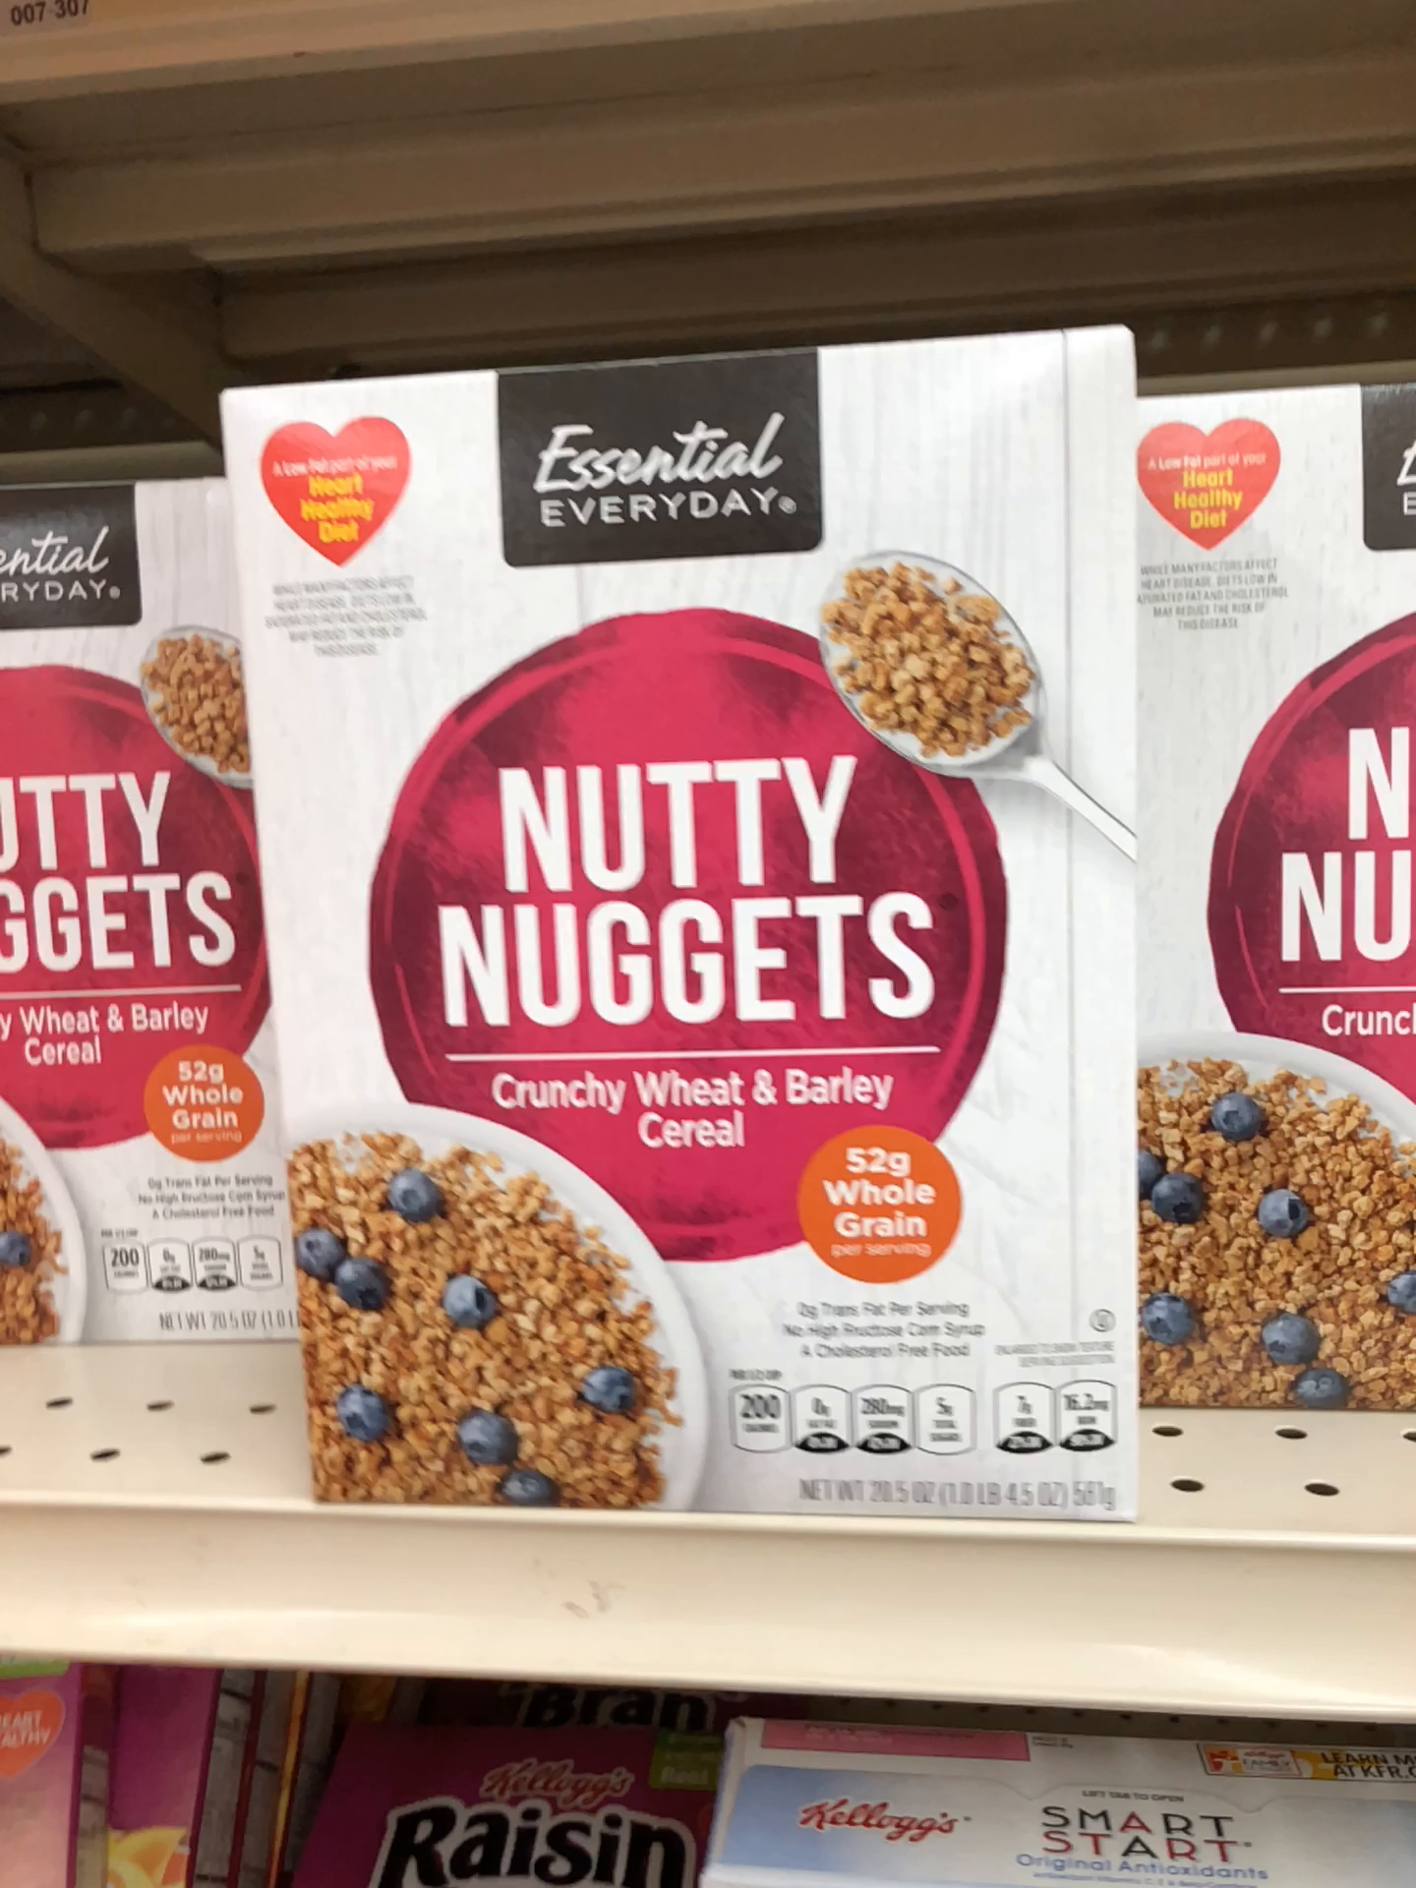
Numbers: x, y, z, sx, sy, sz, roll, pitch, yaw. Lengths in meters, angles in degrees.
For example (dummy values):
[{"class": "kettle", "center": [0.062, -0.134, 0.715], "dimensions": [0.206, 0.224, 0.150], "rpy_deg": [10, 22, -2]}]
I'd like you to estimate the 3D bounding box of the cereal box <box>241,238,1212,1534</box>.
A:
[{"class": "cereal box", "center": [0.007, -0.006, 0.314], "dimensions": [0.170, 0.230, 0.050], "rpy_deg": [-1, 7, 7]}]
